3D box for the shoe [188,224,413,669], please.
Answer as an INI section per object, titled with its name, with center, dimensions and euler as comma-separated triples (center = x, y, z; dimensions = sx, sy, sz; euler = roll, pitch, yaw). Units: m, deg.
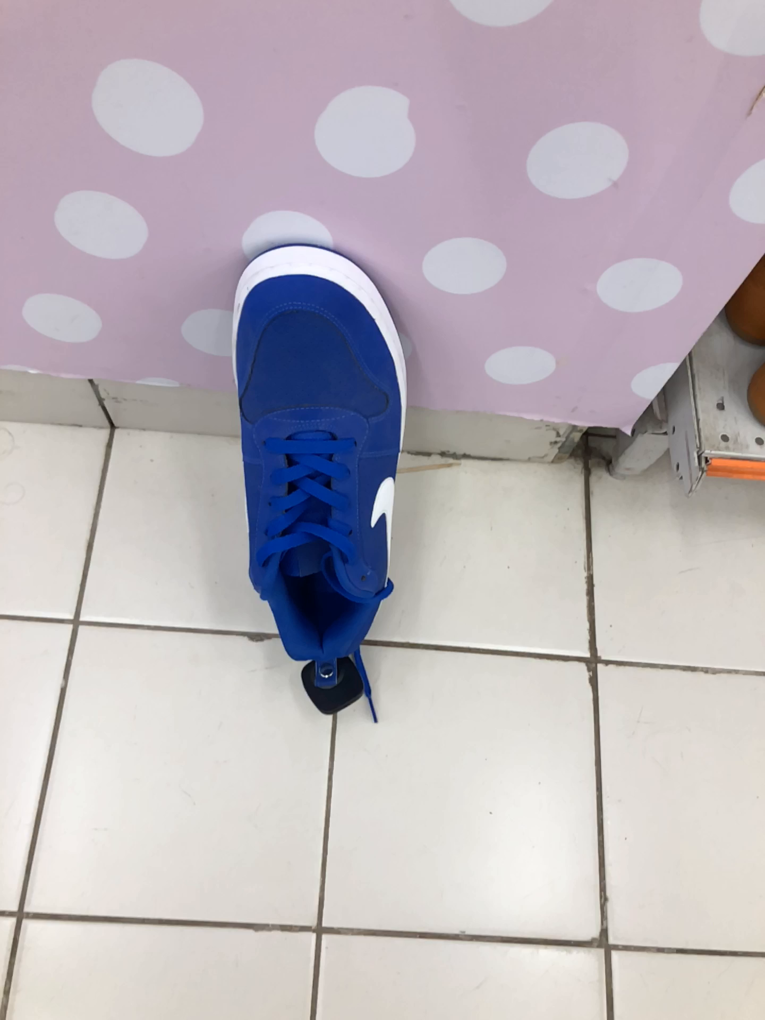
[shoe]
center = -0.040, -0.024, 0.538
dimensions = 0.110, 0.289, 0.080
euler = 1, 40, 0
